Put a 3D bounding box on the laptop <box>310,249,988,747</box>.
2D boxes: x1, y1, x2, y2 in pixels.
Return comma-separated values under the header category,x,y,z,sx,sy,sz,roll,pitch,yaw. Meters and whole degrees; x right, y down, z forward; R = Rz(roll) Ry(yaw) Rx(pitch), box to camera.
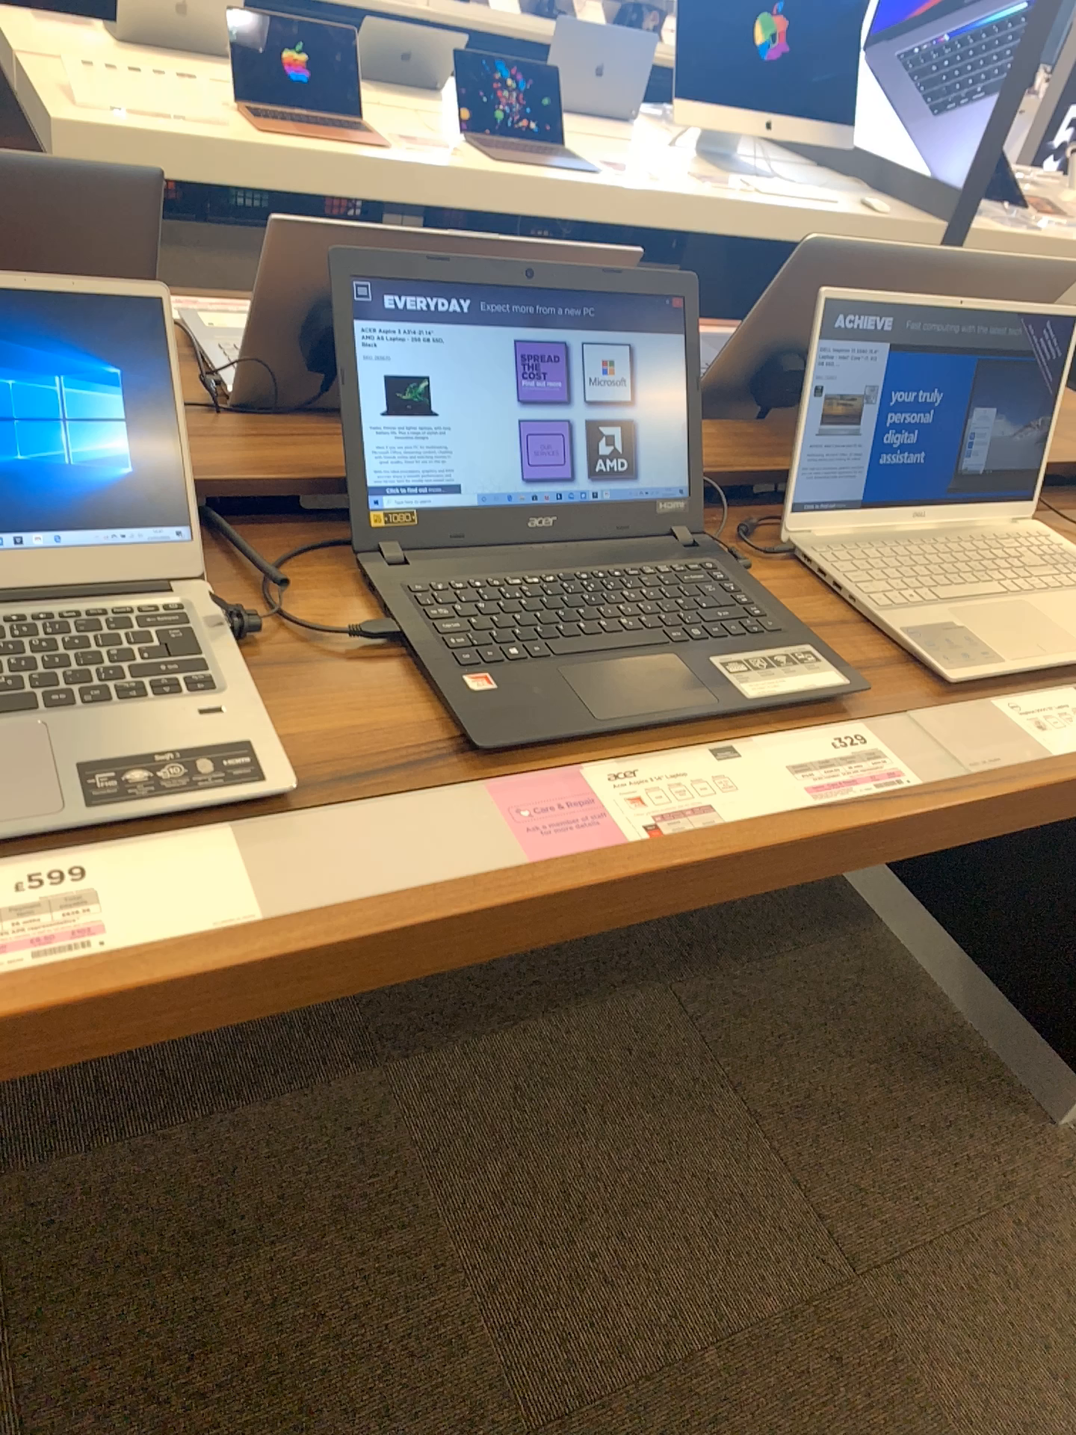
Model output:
category,x,y,z,sx,sy,sz,roll,pitch,yaw
laptop,0.052,-0.182,0.819,0.325,0.193,0.357,-8,40,-28
